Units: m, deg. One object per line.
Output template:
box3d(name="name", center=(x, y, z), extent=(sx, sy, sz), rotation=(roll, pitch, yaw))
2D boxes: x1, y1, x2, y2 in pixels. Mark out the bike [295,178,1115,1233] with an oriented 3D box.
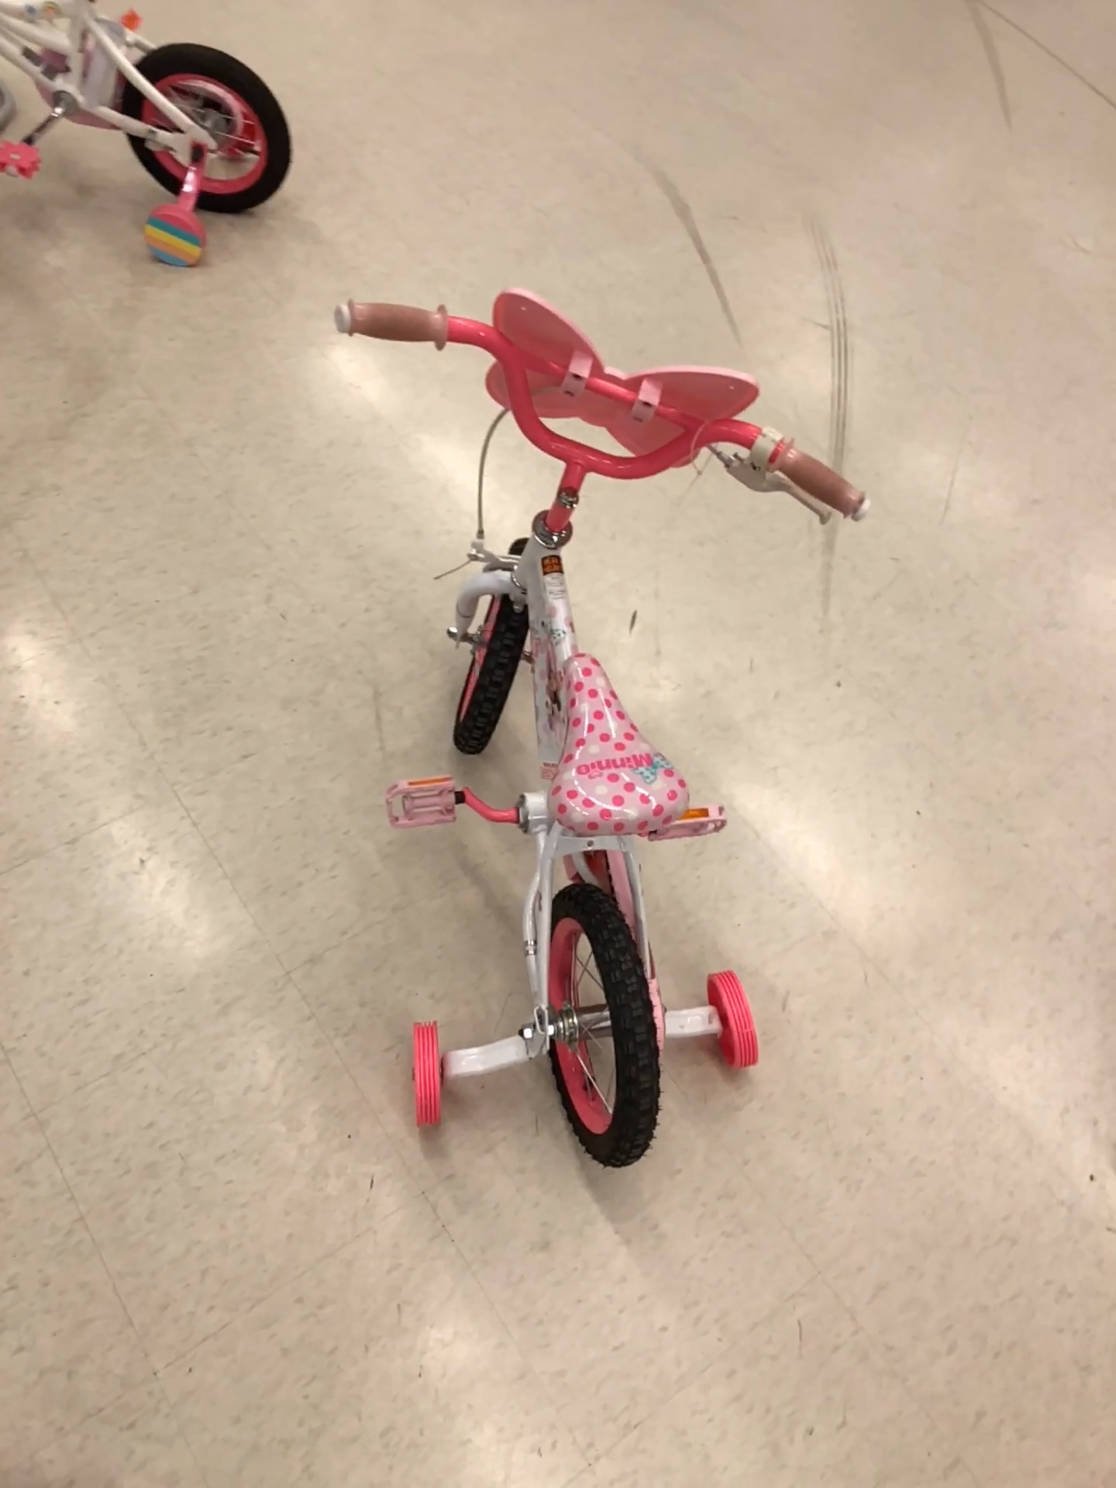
box3d(name="bike", center=(0.039, -0.038, 1.237), extent=(0.510, 0.680, 0.777), rotation=(-5, 54, -10))
